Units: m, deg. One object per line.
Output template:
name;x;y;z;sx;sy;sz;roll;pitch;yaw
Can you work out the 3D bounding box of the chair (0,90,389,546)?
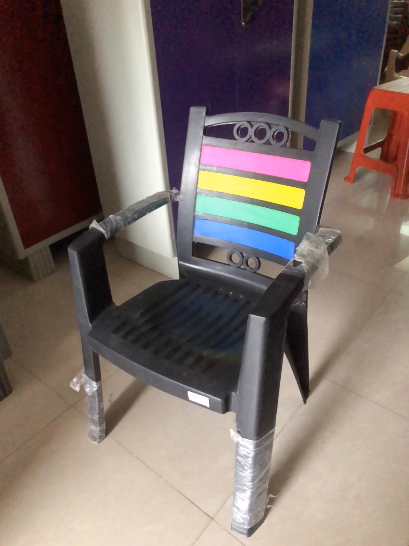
chair;0.019;0.091;1.258;0.640;0.975;0.613;19;40;31
